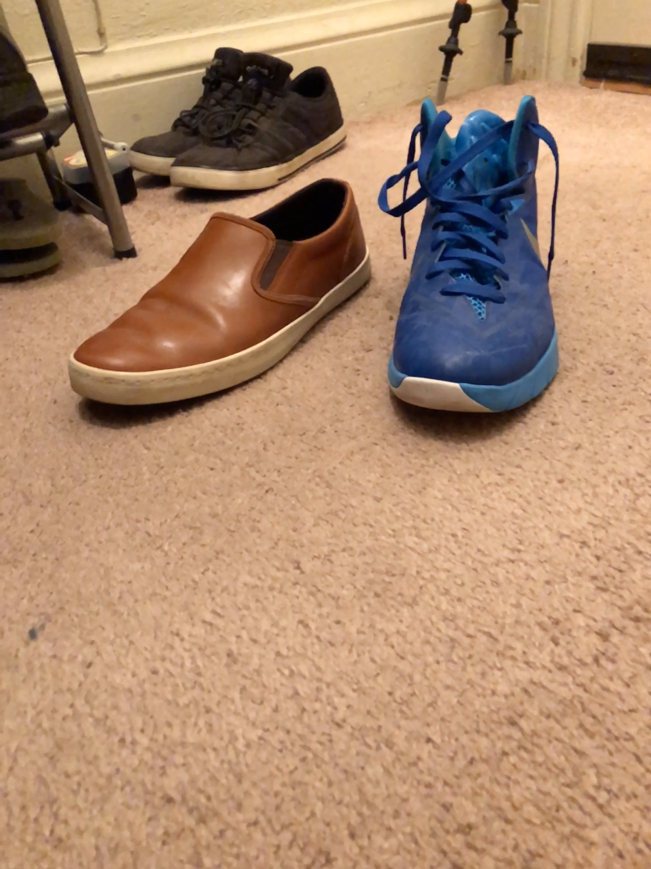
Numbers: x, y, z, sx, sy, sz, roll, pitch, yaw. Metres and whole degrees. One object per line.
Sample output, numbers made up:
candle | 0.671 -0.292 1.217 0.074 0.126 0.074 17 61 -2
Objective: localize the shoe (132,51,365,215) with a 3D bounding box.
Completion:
shoe | -0.078 -0.379 0.876 0.115 0.112 0.293 17 42 29

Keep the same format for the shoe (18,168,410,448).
shoe | -0.063 -0.112 0.539 0.105 0.083 0.283 24 45 35

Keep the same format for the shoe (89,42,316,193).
shoe | -0.146 -0.425 0.941 0.115 0.112 0.293 17 42 29

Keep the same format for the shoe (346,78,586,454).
shoe | 0.111 -0.137 0.500 0.115 0.142 0.294 5 37 15
